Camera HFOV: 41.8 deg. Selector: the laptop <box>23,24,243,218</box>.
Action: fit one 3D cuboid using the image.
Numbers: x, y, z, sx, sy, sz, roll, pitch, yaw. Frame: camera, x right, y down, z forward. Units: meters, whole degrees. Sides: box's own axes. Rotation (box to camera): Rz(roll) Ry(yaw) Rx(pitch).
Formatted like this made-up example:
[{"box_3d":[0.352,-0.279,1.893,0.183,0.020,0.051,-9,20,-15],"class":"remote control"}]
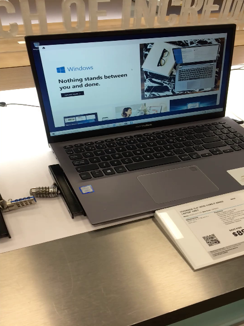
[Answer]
[{"box_3d":[0.065,-0.074,0.444,0.315,0.155,0.218,-12,46,-16],"class":"laptop"}]
